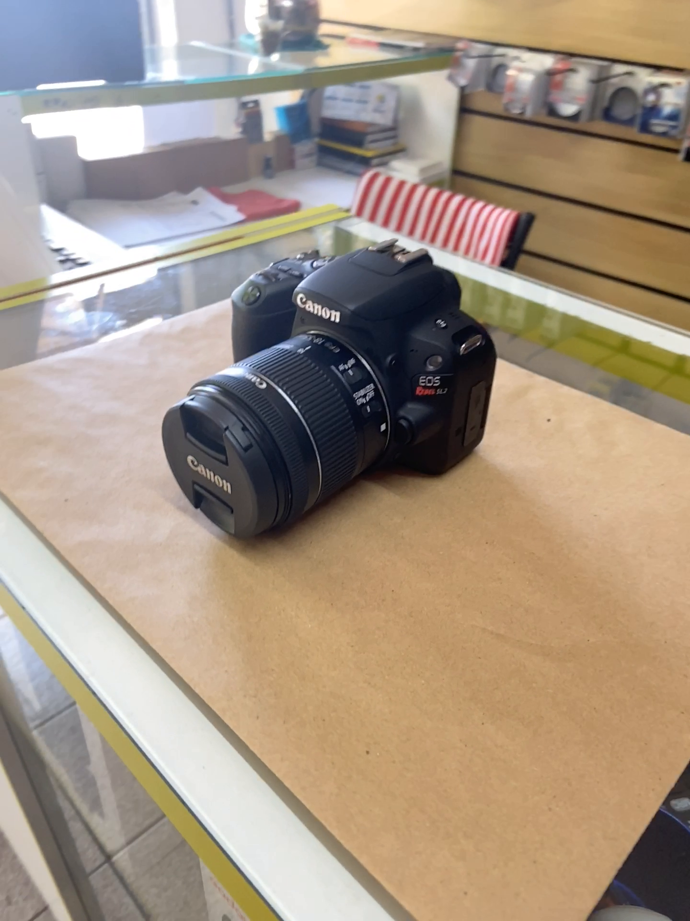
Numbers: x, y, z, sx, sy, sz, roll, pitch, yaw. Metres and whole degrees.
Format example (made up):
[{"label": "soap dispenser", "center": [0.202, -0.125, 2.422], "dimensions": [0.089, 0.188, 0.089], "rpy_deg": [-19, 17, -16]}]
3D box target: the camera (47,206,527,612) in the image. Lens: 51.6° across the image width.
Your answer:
[{"label": "camera", "center": [-0.022, -0.037, 0.310], "dimensions": [0.140, 0.089, 0.131], "rpy_deg": [26, 42, 31]}]
